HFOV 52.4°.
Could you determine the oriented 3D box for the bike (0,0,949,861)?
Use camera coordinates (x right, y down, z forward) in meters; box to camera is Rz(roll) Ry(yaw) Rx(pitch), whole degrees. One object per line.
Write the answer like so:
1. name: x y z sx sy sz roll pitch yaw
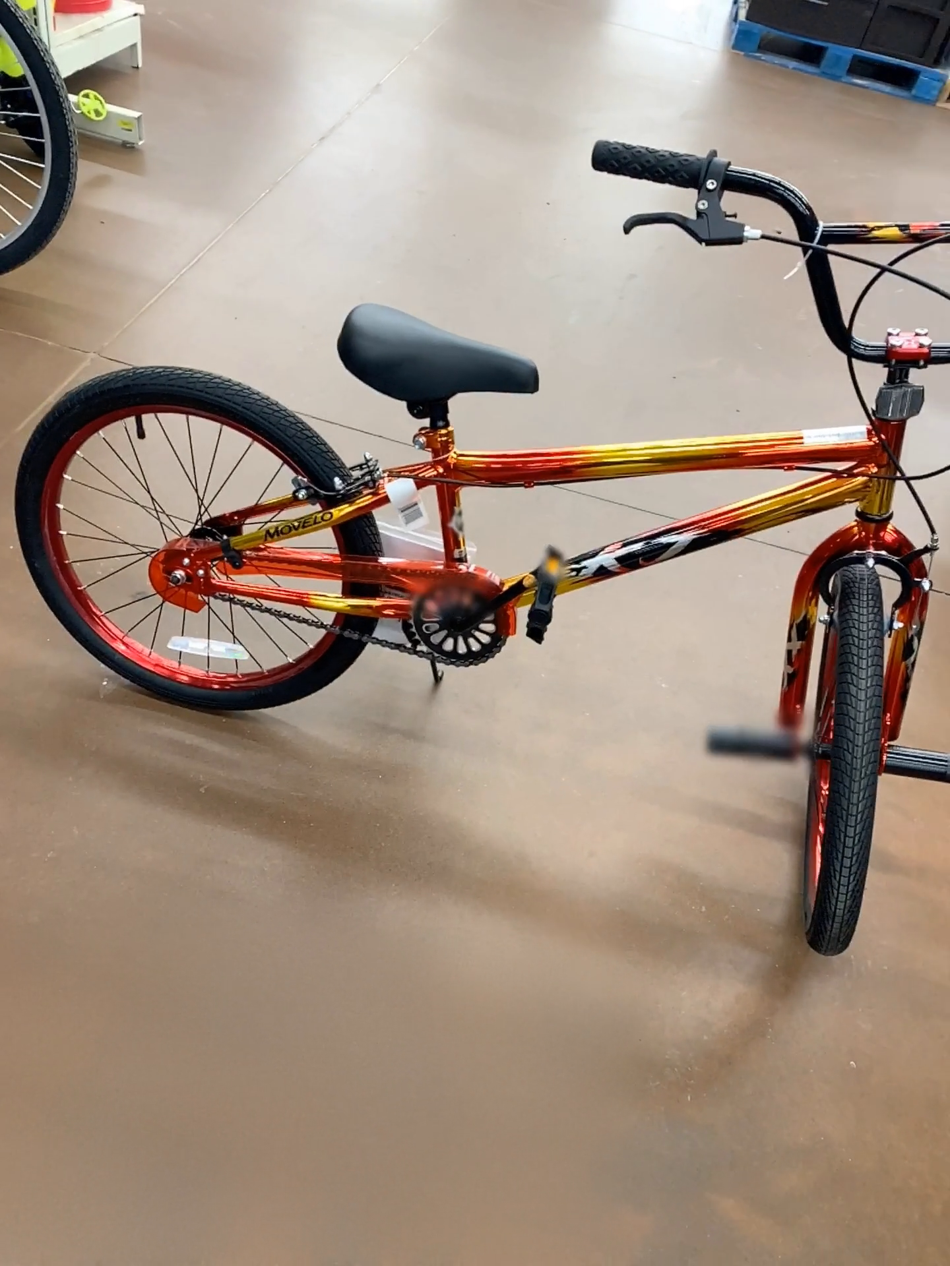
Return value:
1. bike: 0.035 -0.307 1.166 1.122 0.925 0.707 8 44 -5
